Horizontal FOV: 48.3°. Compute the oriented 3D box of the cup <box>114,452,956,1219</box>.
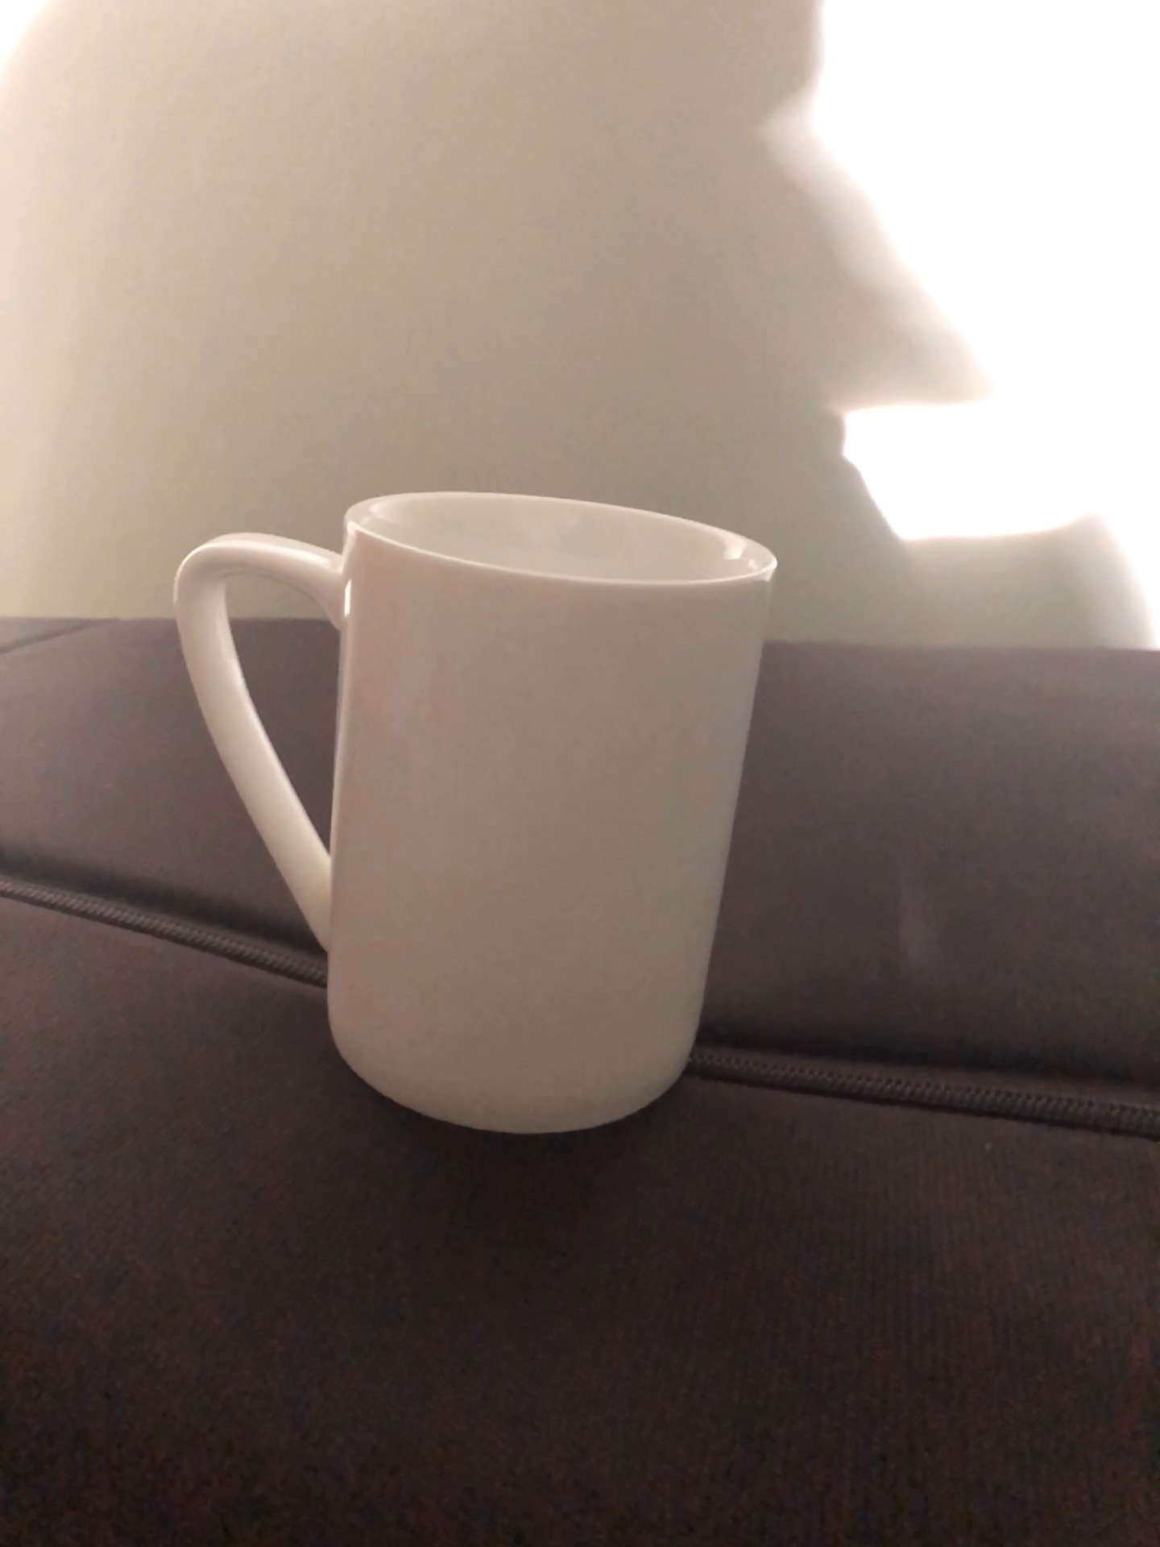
[{"bbox_3d":[-0.008,-0.004,0.236,0.108,0.090,0.097,18,21,28],"label":"cup"}]
